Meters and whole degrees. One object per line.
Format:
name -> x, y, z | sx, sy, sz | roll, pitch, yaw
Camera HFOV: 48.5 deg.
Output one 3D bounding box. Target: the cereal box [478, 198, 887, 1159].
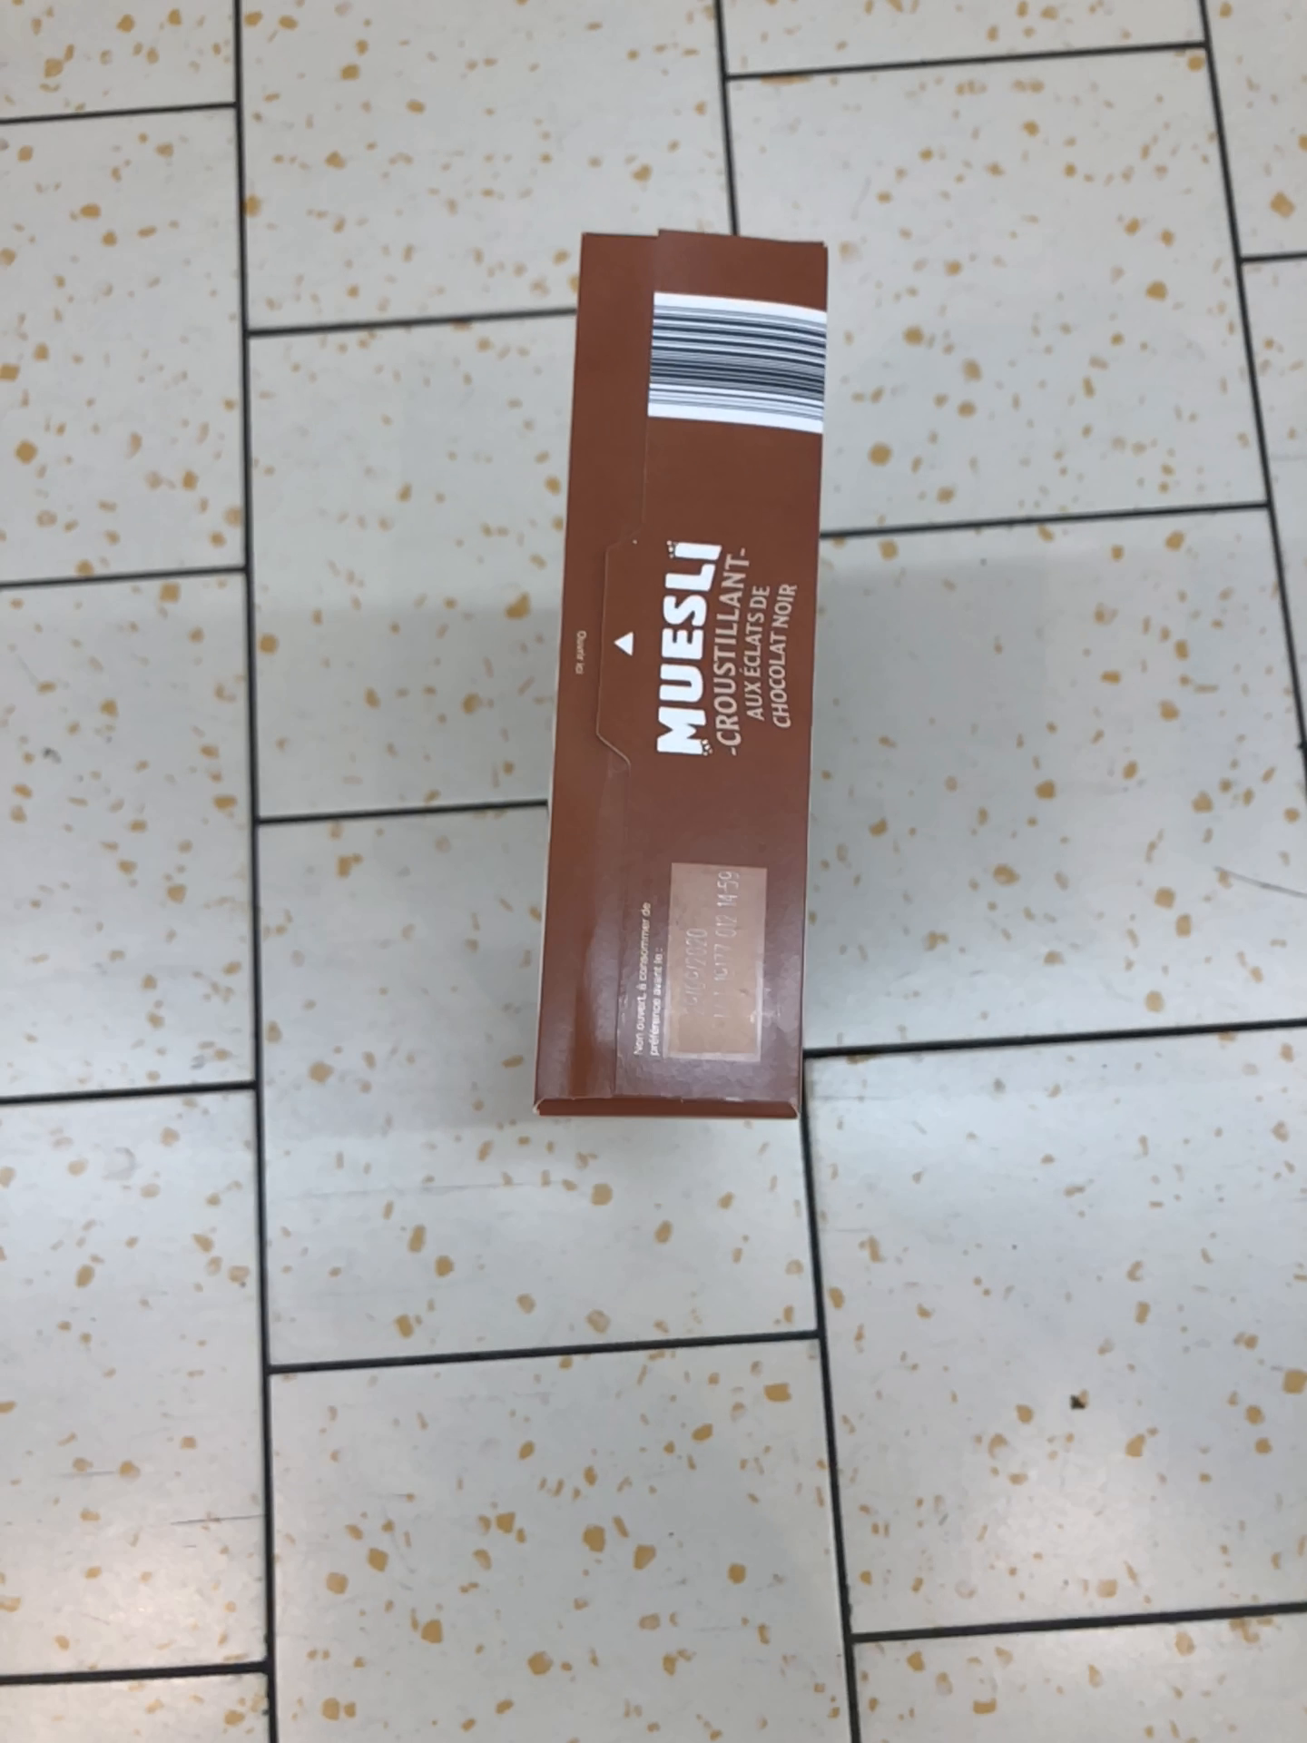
cereal box -> 0.011, -0.026, 0.417 | 0.070, 0.240, 0.200 | 4, 81, 2
